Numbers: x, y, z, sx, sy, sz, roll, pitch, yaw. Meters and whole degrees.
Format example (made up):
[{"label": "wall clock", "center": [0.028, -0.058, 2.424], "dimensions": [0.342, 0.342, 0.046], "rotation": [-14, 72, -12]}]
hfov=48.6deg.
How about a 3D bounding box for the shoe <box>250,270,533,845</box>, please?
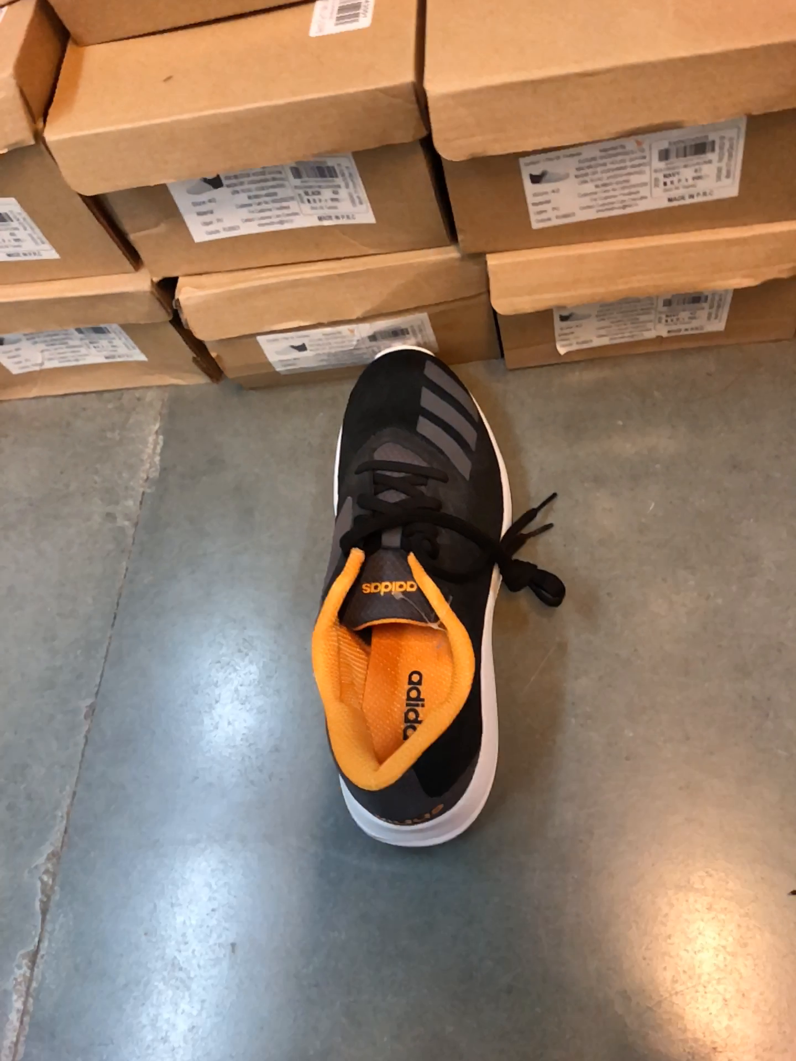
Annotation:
[{"label": "shoe", "center": [0.006, 0.018, 0.461], "dimensions": [0.109, 0.117, 0.271], "rotation": [-4, 67, 11]}]
